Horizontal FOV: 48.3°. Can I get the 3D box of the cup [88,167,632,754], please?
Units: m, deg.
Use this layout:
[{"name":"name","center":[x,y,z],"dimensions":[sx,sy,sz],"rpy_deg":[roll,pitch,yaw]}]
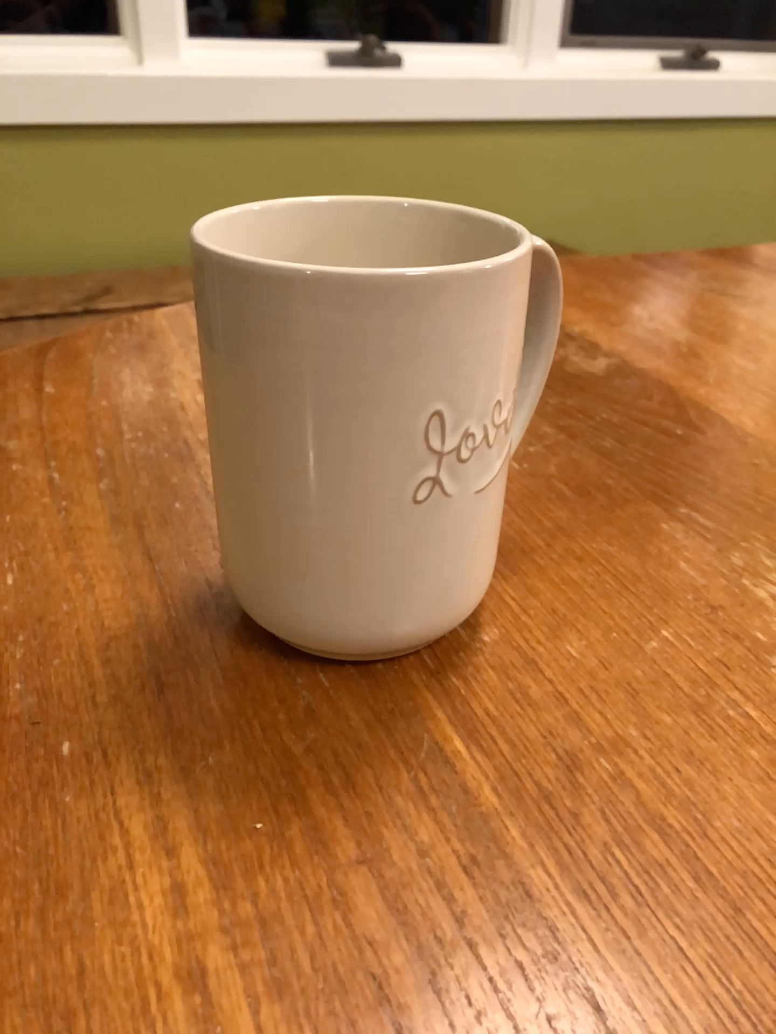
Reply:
[{"name":"cup","center":[-0.001,-0.031,0.272],"dimensions":[0.092,0.124,0.135],"rpy_deg":[19,35,27]}]
